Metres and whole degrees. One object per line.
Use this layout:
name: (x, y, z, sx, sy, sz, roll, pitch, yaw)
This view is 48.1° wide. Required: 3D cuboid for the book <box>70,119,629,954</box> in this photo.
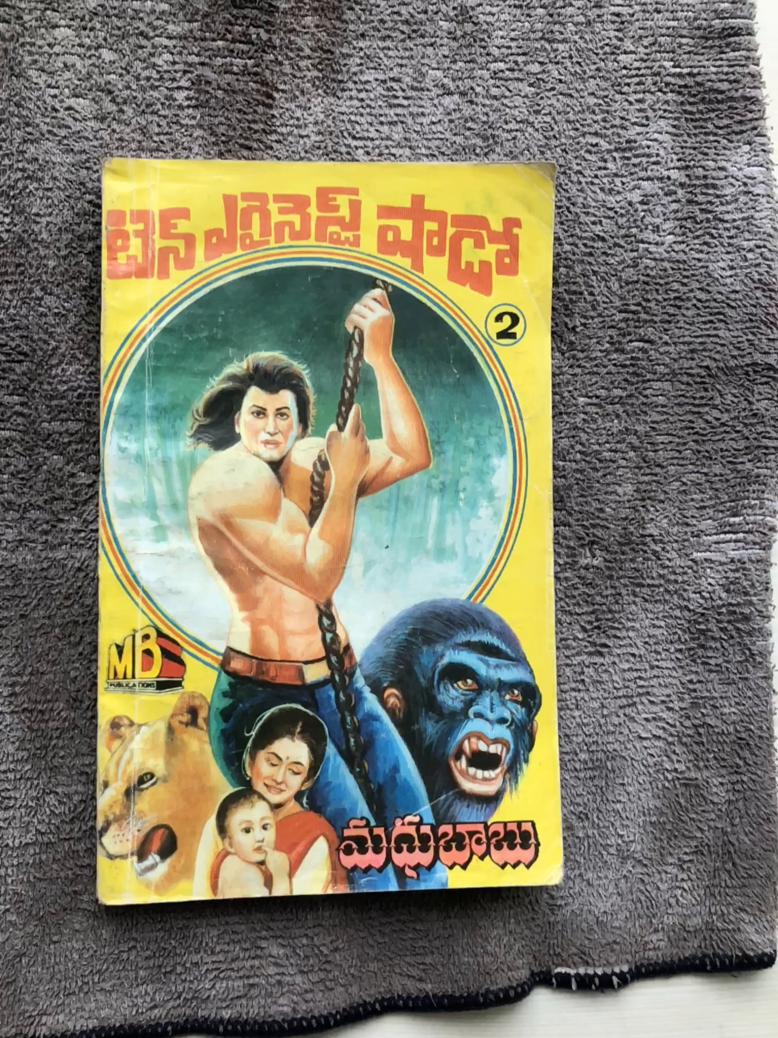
book: (-0.008, 0.001, 0.186, 0.110, 0.020, 0.160, -1, 87, -9)
